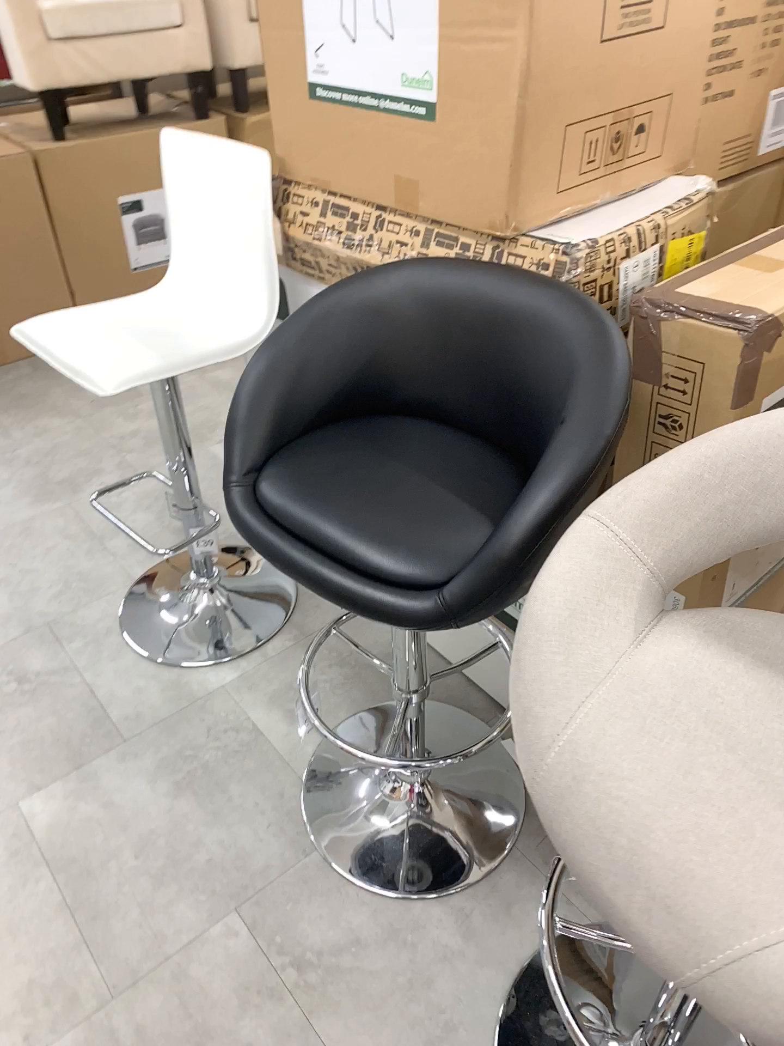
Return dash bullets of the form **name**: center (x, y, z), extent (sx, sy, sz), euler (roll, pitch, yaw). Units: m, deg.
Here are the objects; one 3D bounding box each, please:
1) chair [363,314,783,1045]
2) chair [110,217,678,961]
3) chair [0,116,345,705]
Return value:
- **chair**: center (0.301, 0.350, 0.813), extent (0.446, 0.918, 0.432), euler (29, 47, 34)
- **chair**: center (0.006, 0.097, 1.169), extent (0.442, 0.868, 0.476), euler (-31, 46, -33)
- **chair**: center (-0.433, -0.207, 1.560), extent (0.446, 0.948, 0.442), euler (29, 47, 34)
